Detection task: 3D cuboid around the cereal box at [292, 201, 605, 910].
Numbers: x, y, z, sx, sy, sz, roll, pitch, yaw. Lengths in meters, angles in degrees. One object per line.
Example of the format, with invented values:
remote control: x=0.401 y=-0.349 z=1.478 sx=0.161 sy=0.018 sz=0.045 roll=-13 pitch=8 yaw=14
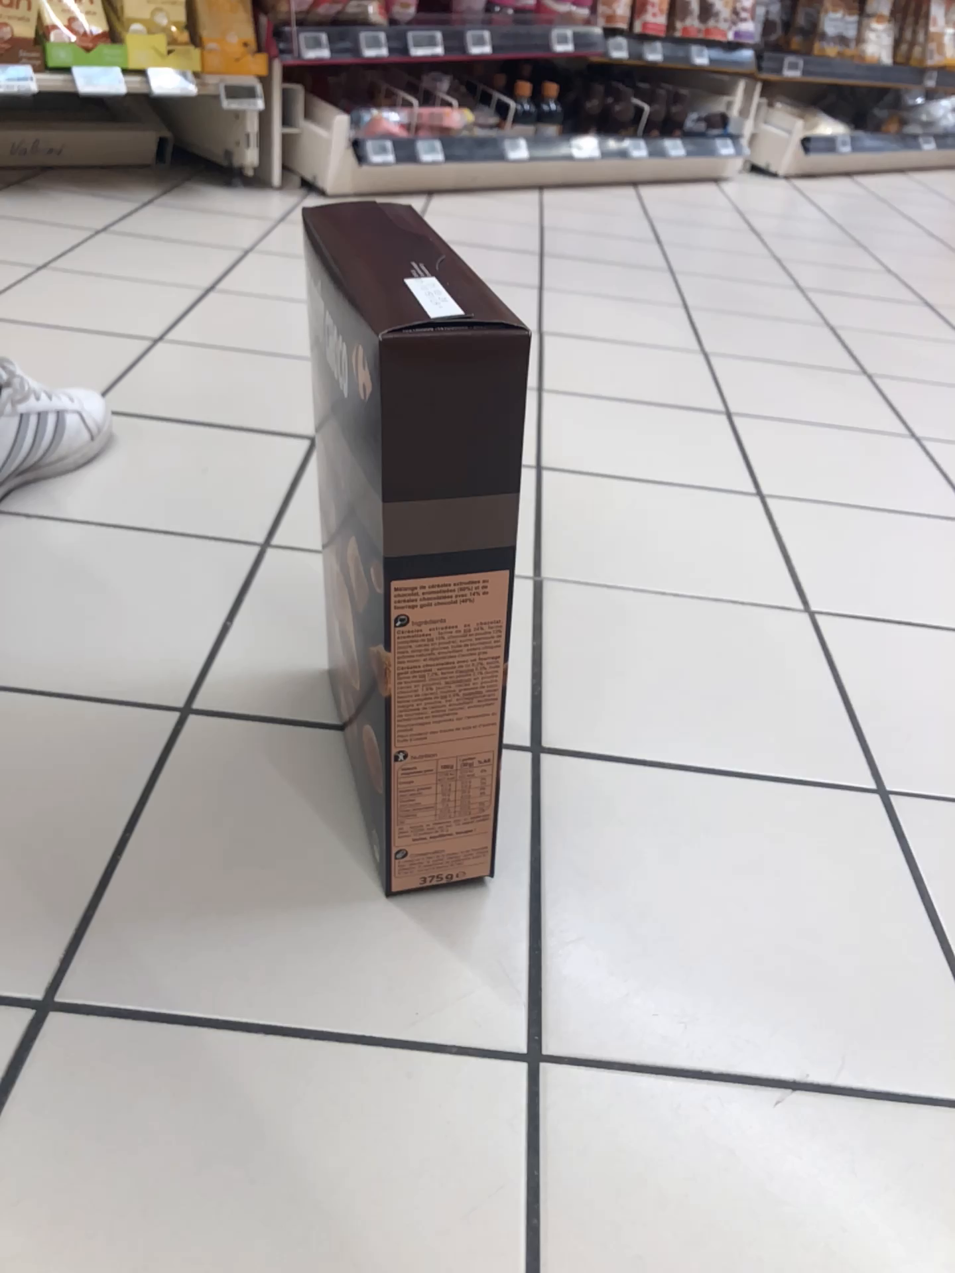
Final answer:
cereal box: x=-0.030 y=-0.045 z=0.505 sx=0.080 sy=0.268 sz=0.201 roll=-6 pitch=34 yaw=-15
